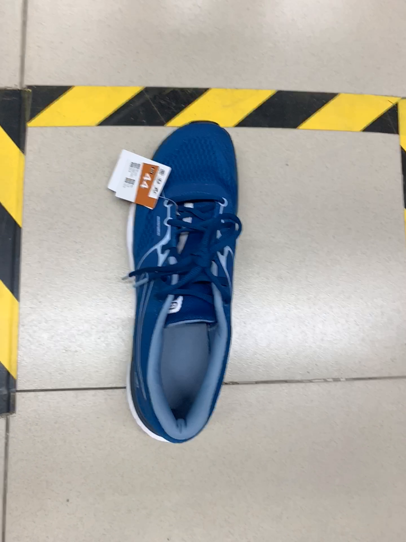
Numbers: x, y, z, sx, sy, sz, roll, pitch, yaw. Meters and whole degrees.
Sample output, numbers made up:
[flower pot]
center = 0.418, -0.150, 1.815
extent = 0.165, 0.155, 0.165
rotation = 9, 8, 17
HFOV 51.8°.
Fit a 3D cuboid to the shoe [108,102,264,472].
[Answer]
[shoe]
center = -0.011, 0.008, 0.361
extent = 0.110, 0.070, 0.290
rotation = 3, 76, -6
